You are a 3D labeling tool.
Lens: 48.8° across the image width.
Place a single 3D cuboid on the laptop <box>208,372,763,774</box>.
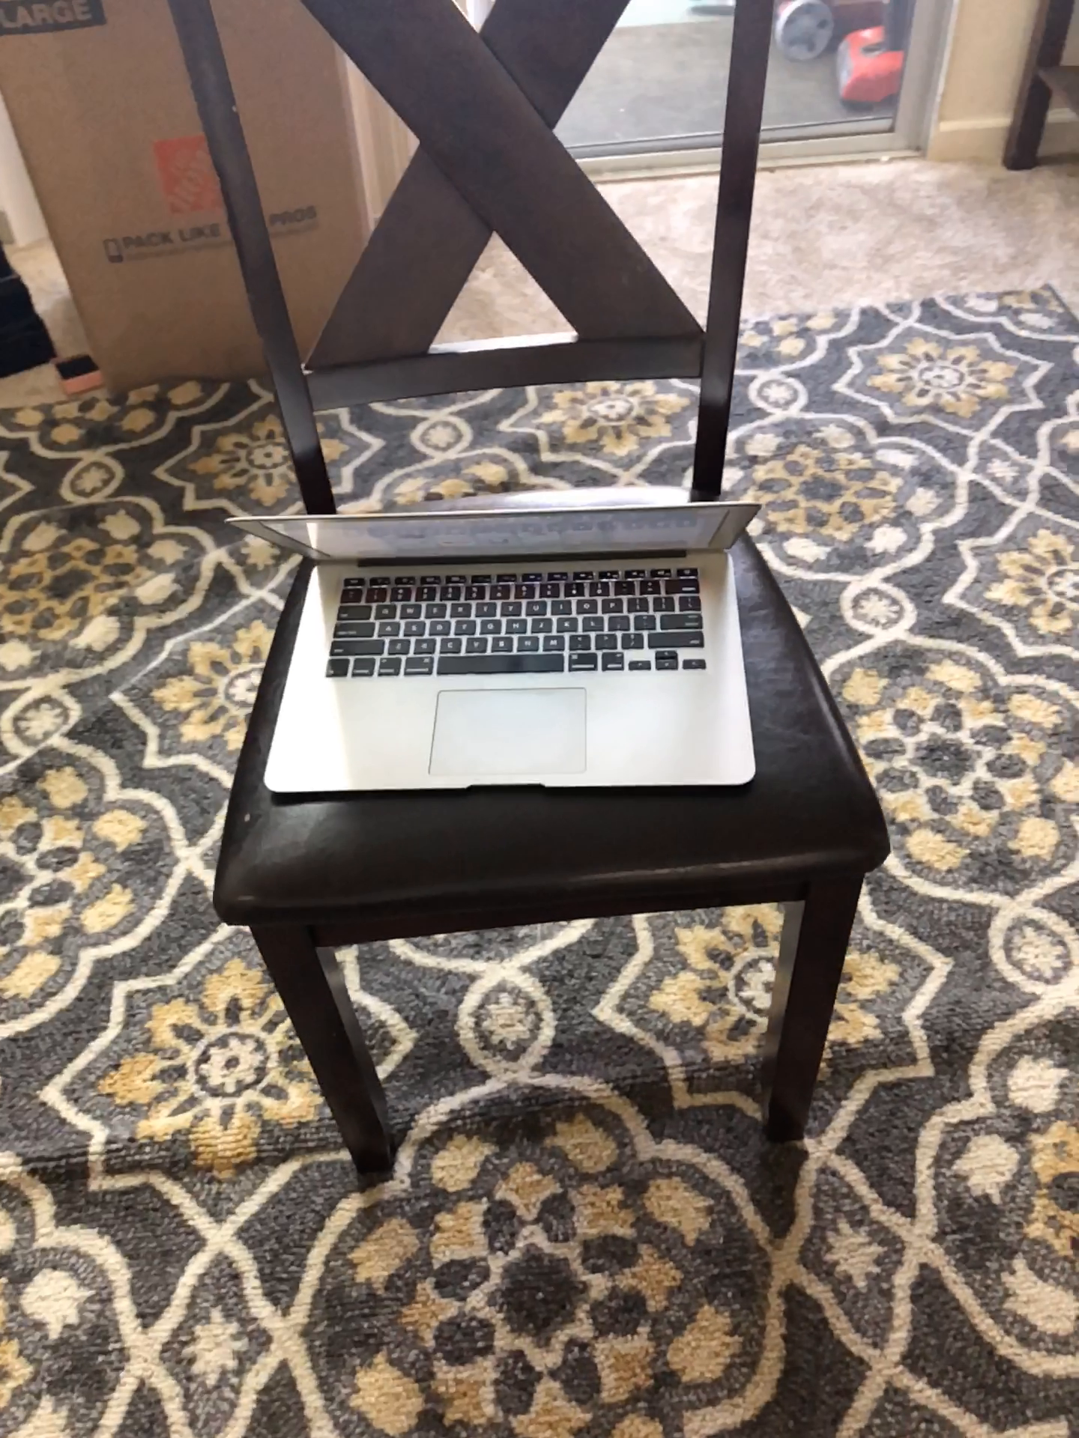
[{"bbox_3d":[-0.024,-0.097,0.777,0.303,0.154,0.216,0,47,3],"label":"laptop"}]
